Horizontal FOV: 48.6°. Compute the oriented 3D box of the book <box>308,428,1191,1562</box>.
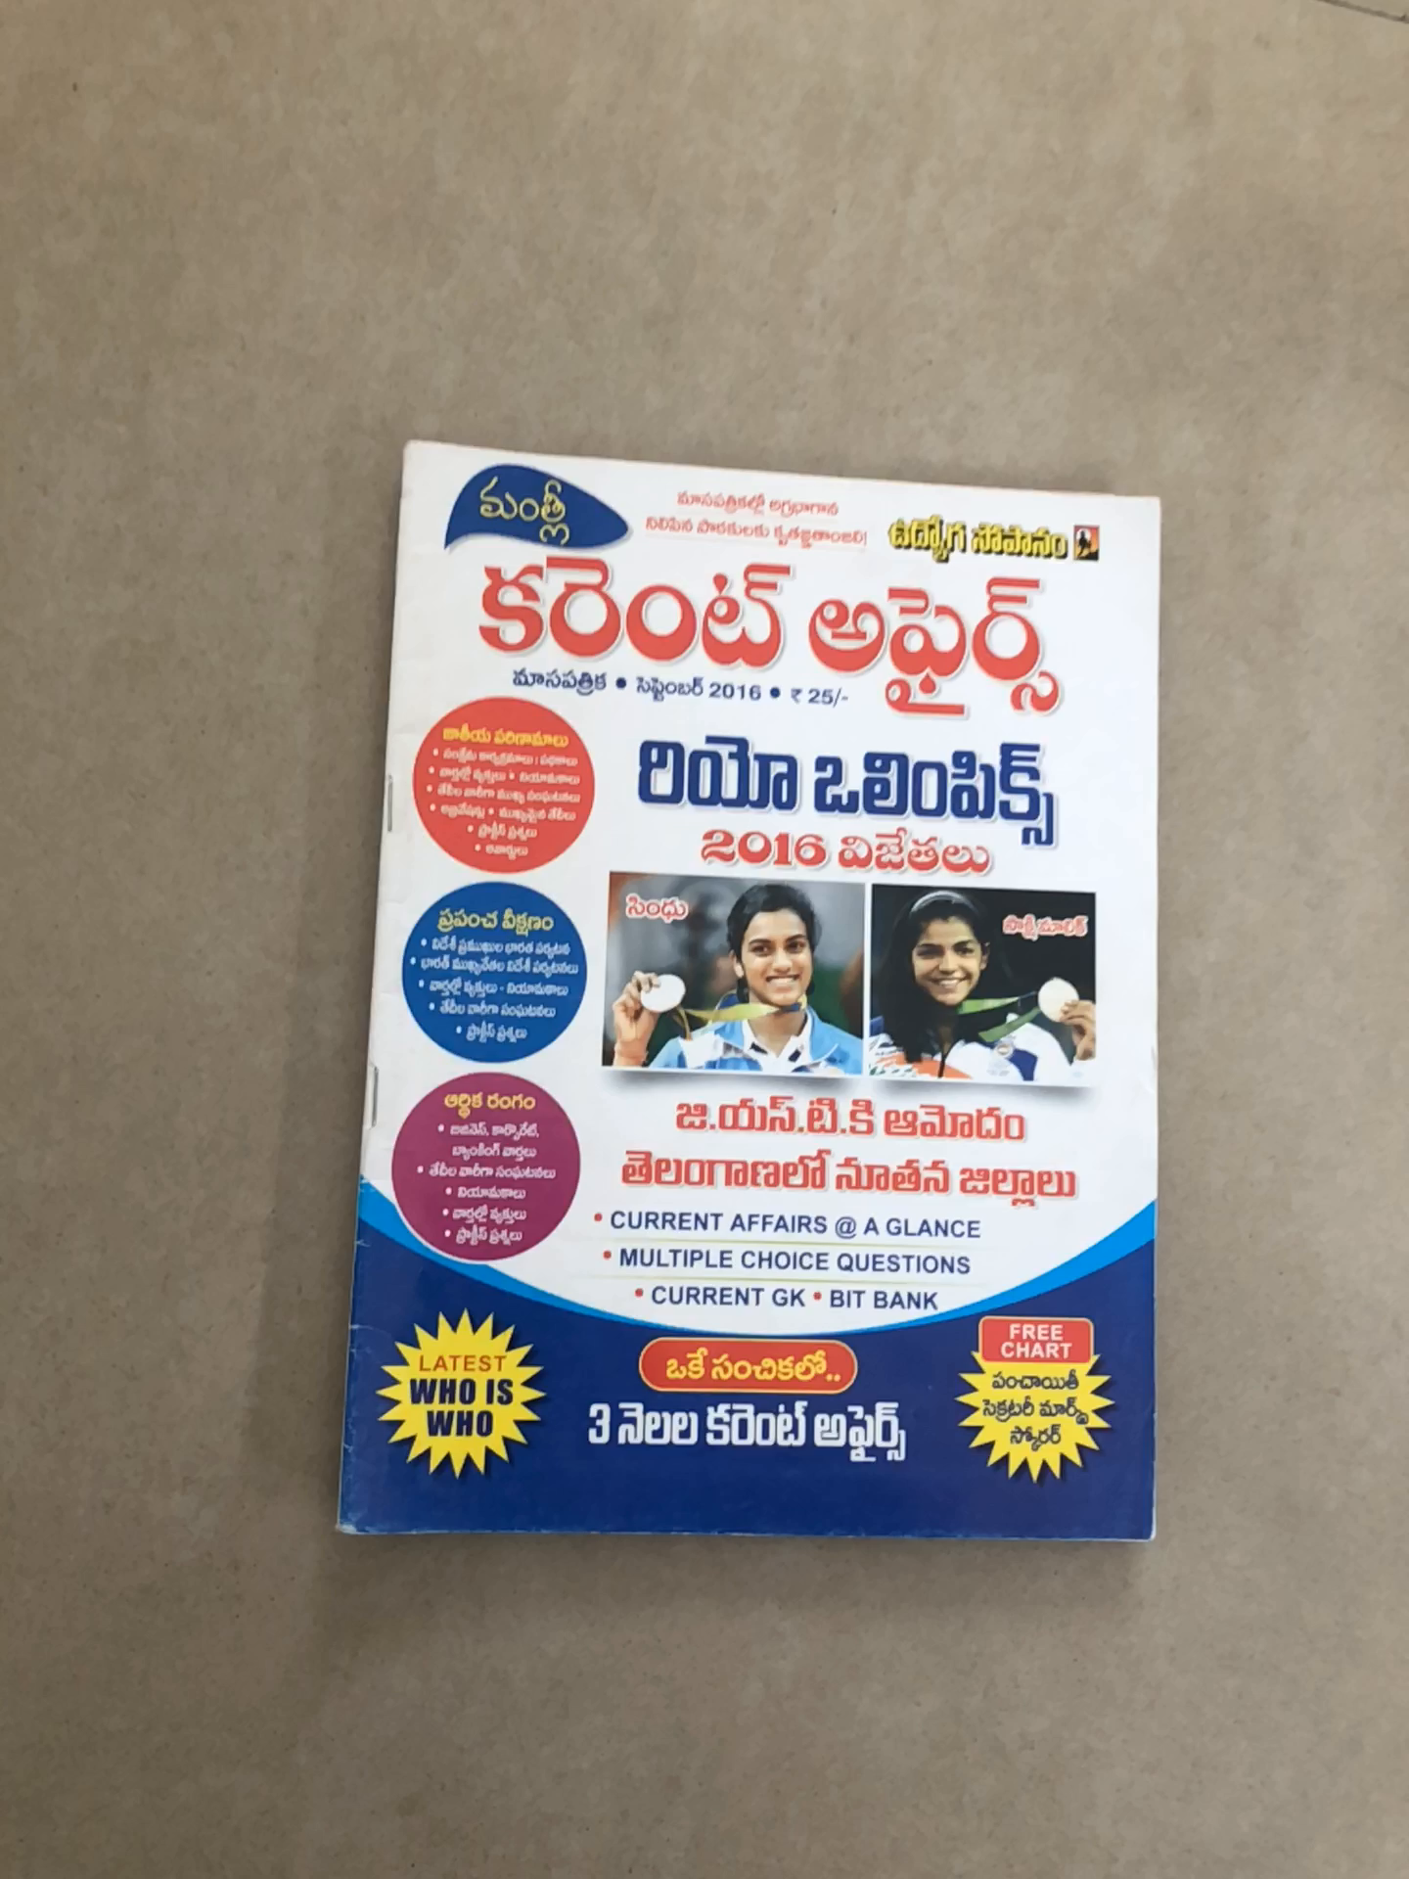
[{"bbox_3d":[0.017,0.011,0.376,0.200,0.010,0.260,3,83,-4],"label":"book"}]
